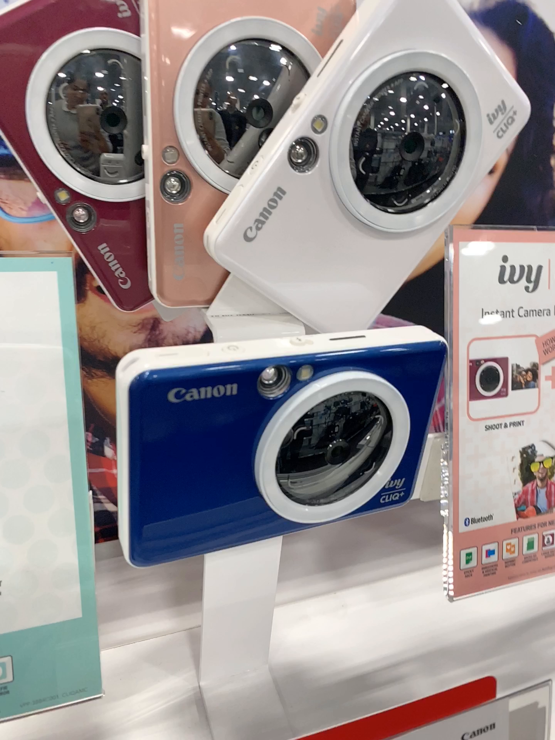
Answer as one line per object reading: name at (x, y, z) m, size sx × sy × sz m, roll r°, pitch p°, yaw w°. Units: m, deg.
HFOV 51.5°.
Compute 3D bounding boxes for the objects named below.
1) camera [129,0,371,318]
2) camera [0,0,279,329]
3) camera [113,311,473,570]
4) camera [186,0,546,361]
camera at (-0.014, -0.084, 0.223) m, size 0.078 × 0.119 × 0.028 m, roll -7°, pitch 29°, yaw -23°
camera at (-0.056, -0.083, 0.220) m, size 0.078 × 0.110 × 0.028 m, roll -31°, pitch 38°, yaw -8°
camera at (0.006, 0.021, 0.208) m, size 0.120 × 0.070 × 0.028 m, roll -7°, pitch 30°, yaw -24°
camera at (0.034, -0.074, 0.219) m, size 0.077 × 0.120 × 0.028 m, roll 31°, pitch 10°, yaw -31°
